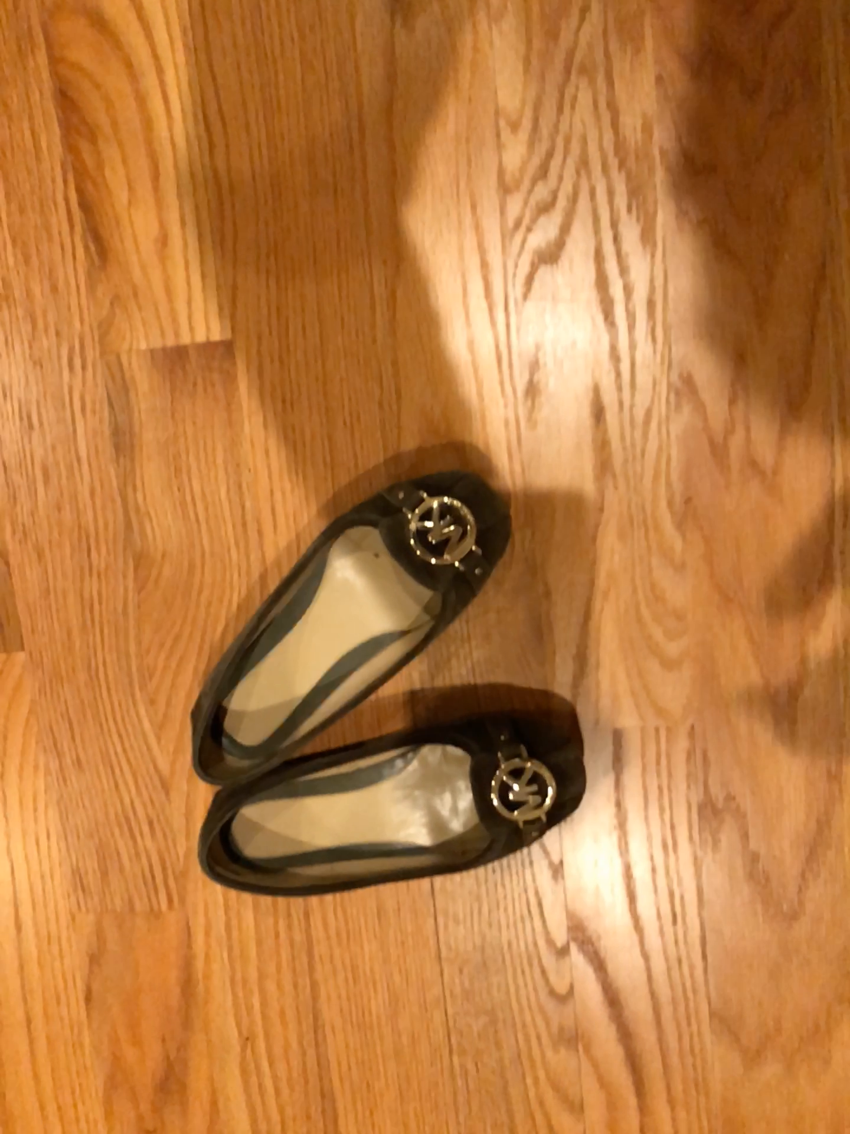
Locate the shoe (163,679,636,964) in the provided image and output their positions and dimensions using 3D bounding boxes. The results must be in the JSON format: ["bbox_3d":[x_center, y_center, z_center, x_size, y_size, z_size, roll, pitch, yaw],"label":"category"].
[{"bbox_3d":[-0.012,0.144,0.538,0.240,0.079,0.091,-14,97,11],"label":"shoe"}]

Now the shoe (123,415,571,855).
[{"bbox_3d":[-0.040,0.035,0.520,0.242,0.079,0.091,-44,91,13],"label":"shoe"}]
